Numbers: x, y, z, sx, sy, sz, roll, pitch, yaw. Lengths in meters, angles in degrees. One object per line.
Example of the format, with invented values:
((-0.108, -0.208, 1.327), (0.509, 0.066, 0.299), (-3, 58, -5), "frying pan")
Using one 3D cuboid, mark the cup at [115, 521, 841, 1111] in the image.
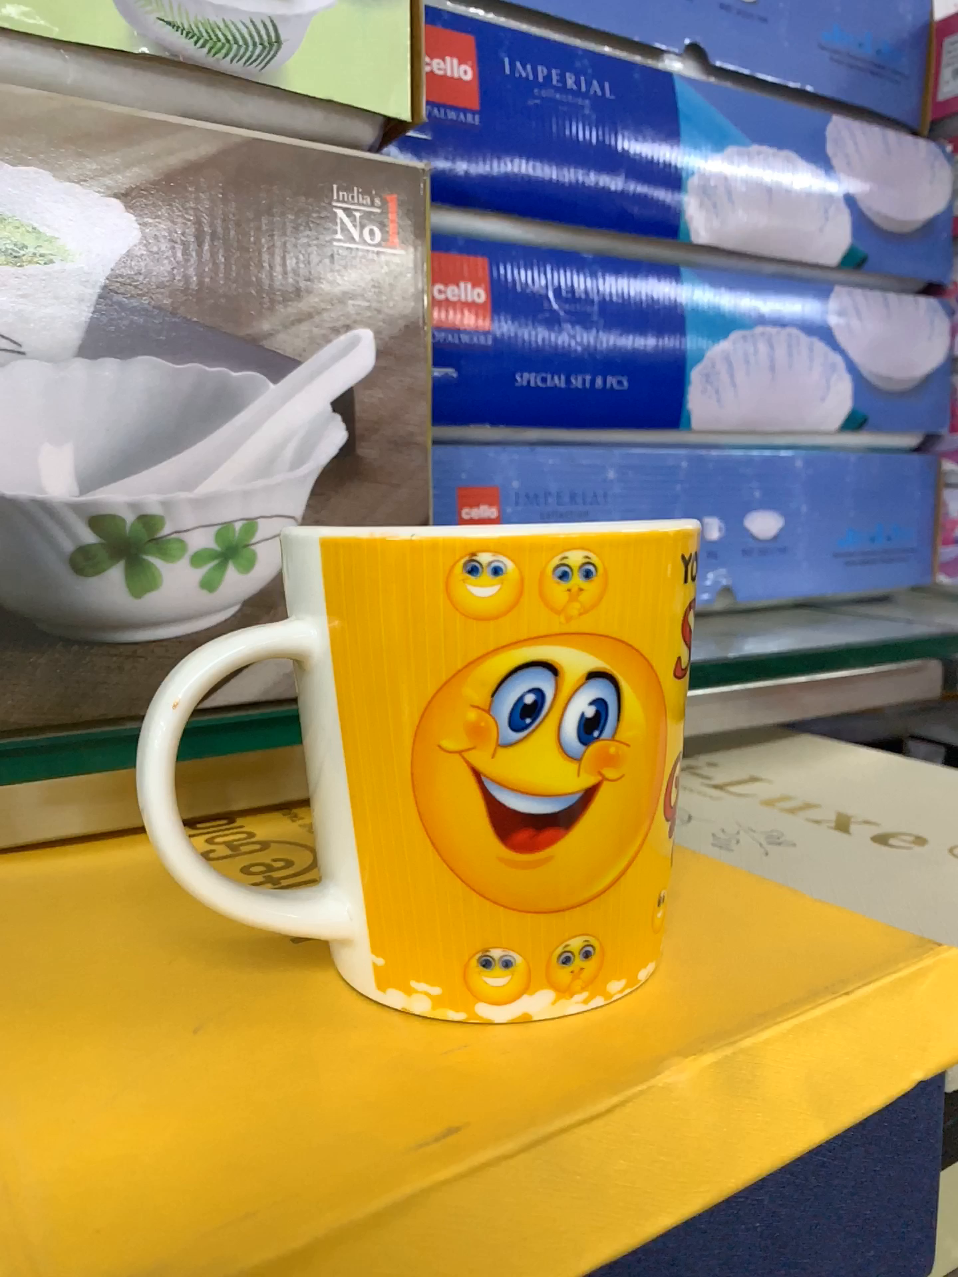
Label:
((-0.003, 0.019, 0.195), (0.118, 0.081, 0.072), (-3, 9, -25), "cup")
